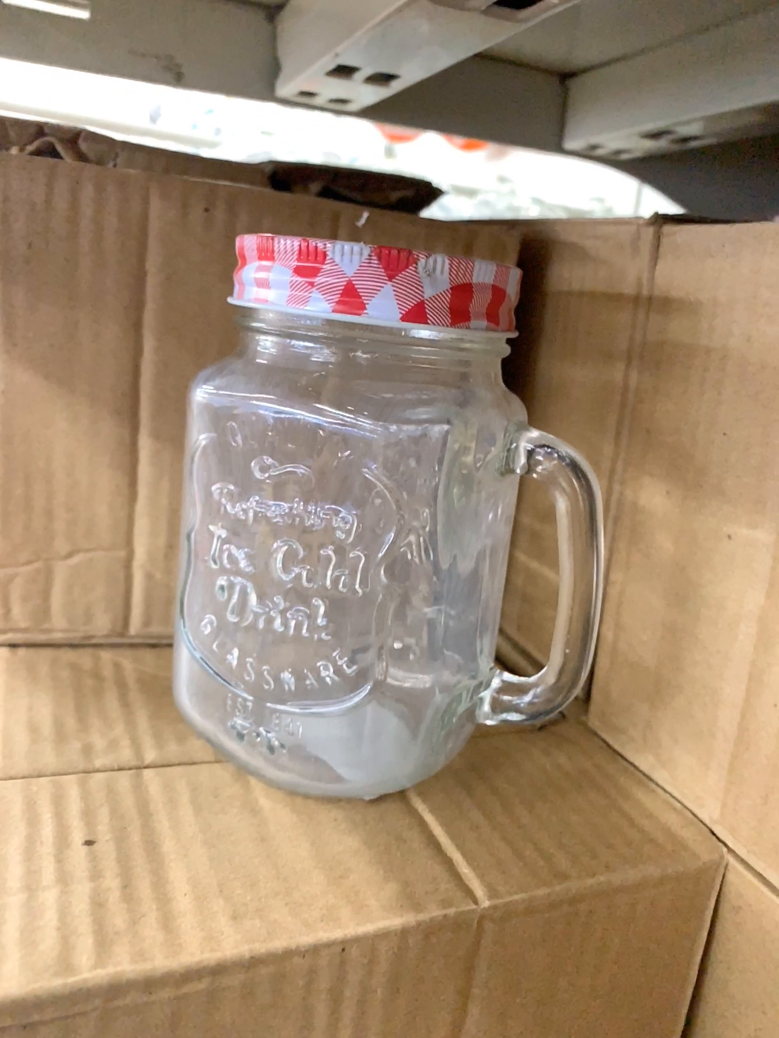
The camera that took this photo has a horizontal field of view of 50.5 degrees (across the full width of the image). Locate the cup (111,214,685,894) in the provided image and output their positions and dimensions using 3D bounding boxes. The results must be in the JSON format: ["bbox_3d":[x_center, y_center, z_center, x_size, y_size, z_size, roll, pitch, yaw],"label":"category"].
[{"bbox_3d":[0.001,-0.003,0.202,0.100,0.120,0.080,13,13,30],"label":"cup"}]
